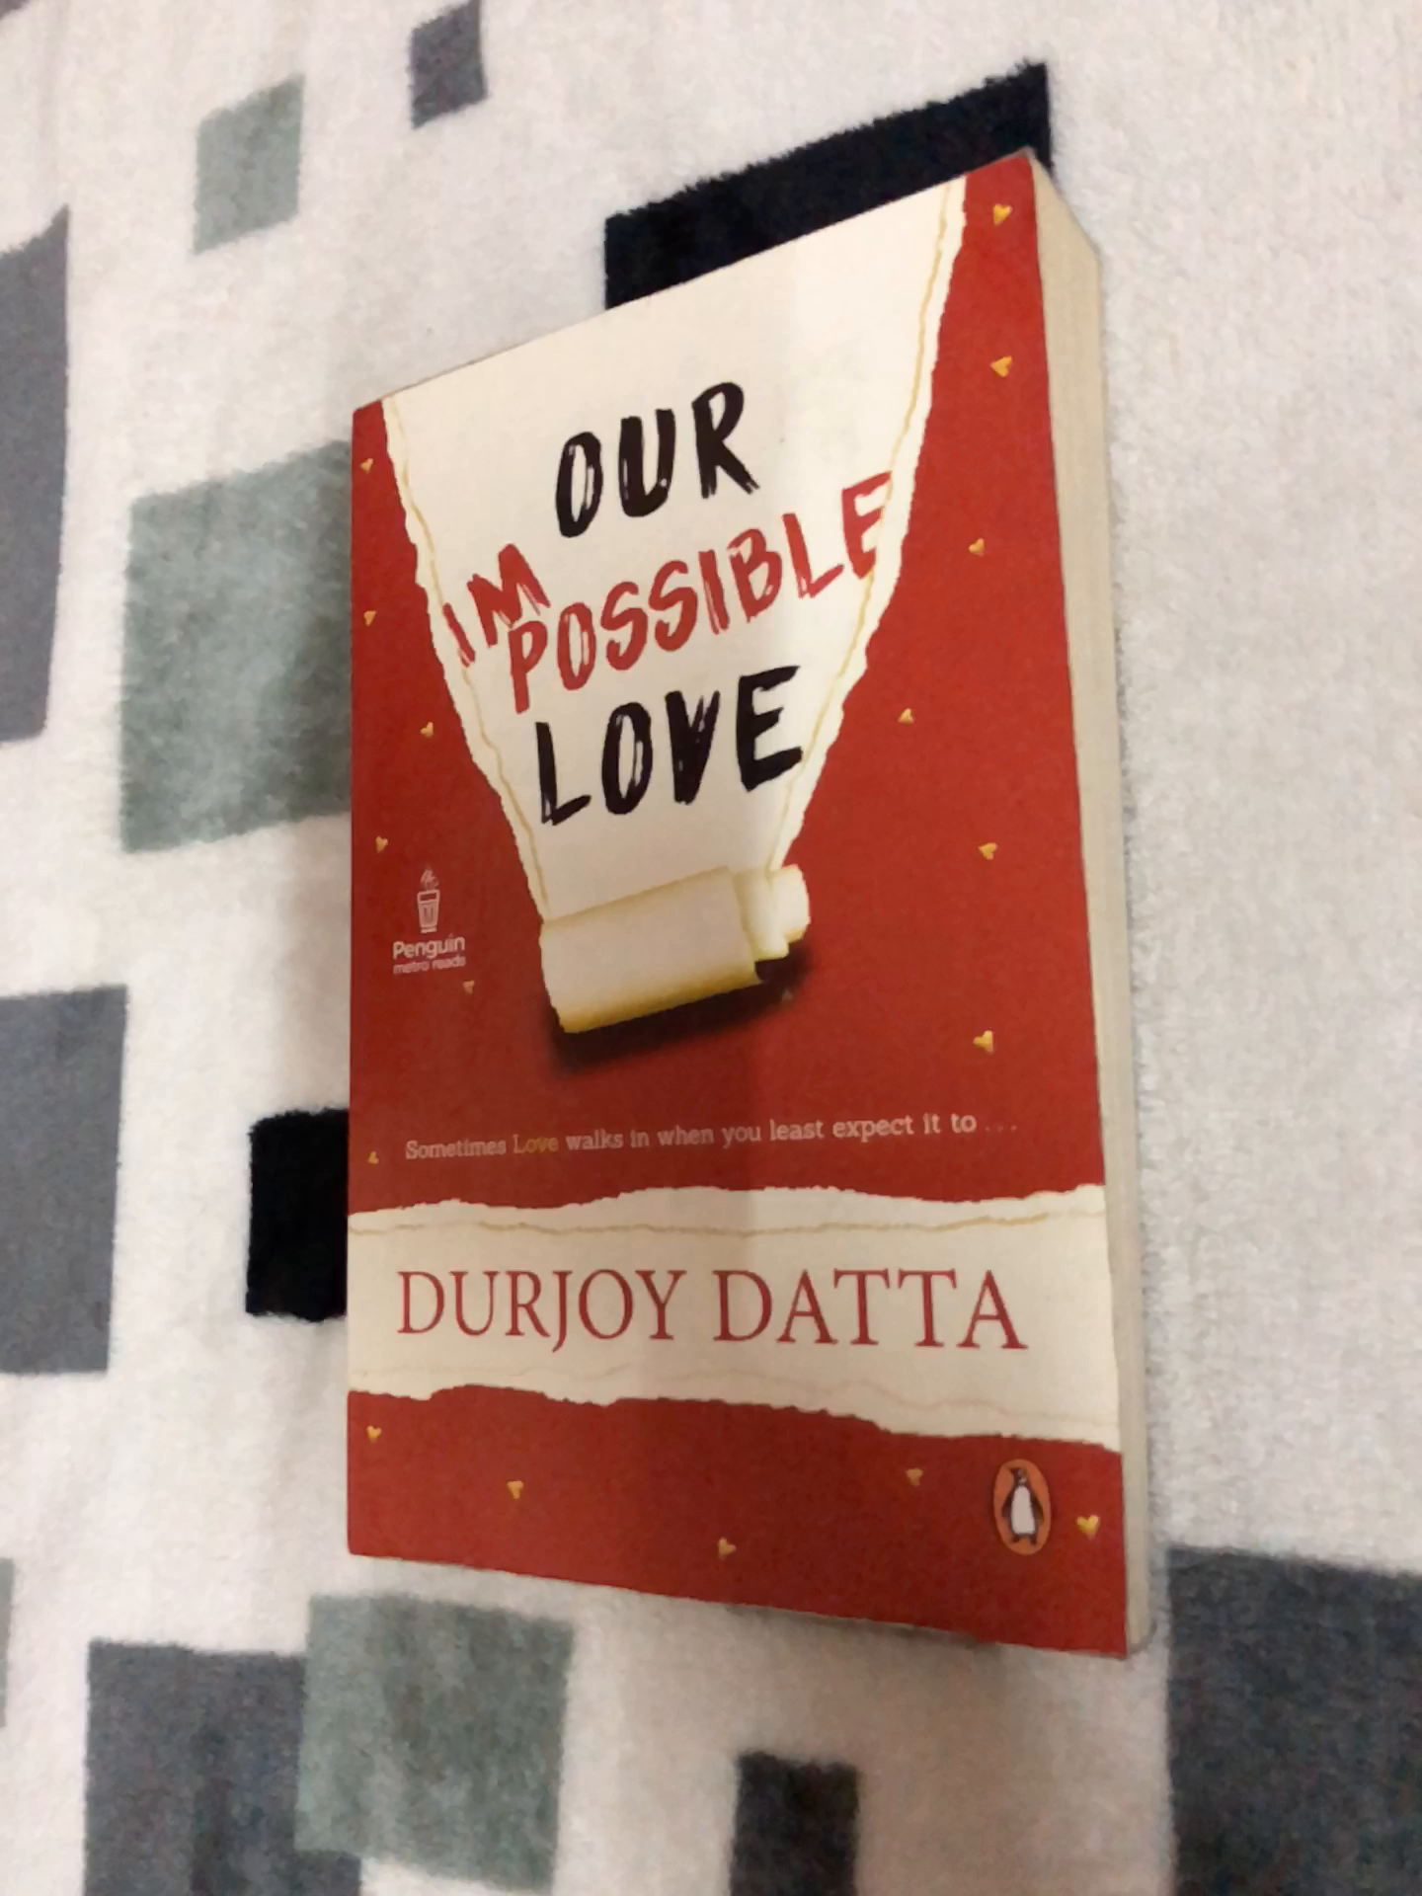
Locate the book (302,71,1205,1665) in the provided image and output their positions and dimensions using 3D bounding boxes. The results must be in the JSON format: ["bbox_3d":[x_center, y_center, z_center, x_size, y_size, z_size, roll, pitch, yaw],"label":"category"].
[{"bbox_3d":[-0.002,-0.008,0.241,0.130,0.030,0.200,-6,83,30],"label":"book"}]
